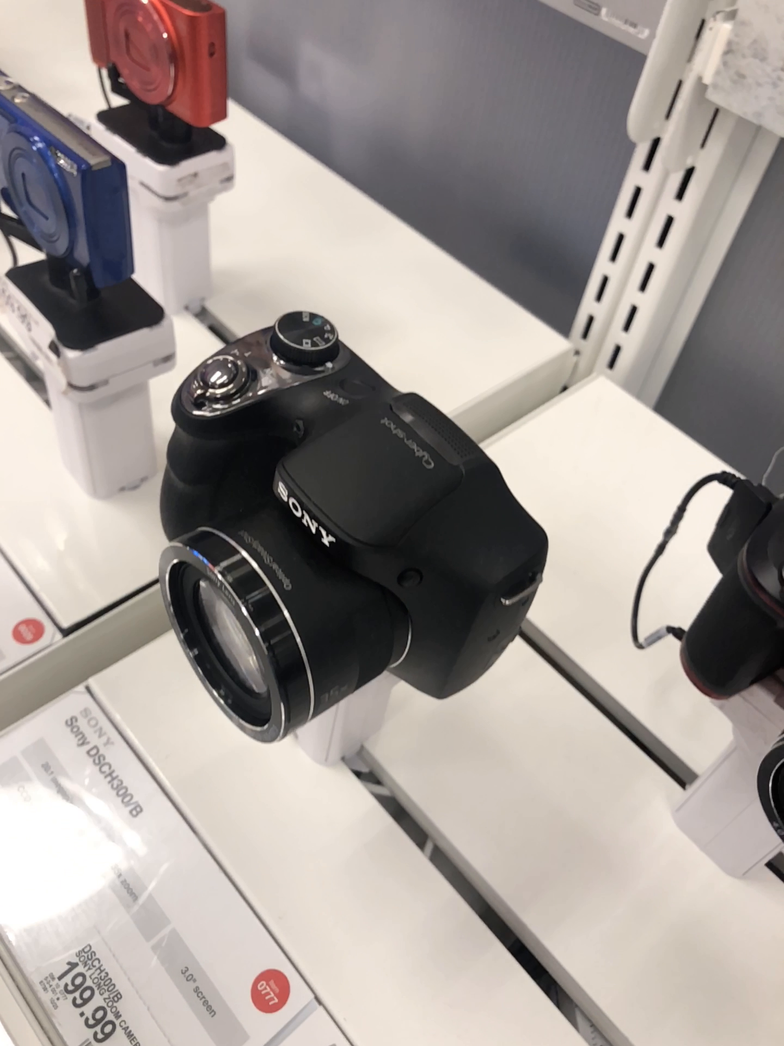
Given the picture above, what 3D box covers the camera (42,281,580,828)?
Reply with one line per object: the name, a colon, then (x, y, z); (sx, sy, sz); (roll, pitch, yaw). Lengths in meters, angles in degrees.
camera: (-0.027, 0.004, 0.261); (0.087, 0.076, 0.119); (-33, 62, -31)
